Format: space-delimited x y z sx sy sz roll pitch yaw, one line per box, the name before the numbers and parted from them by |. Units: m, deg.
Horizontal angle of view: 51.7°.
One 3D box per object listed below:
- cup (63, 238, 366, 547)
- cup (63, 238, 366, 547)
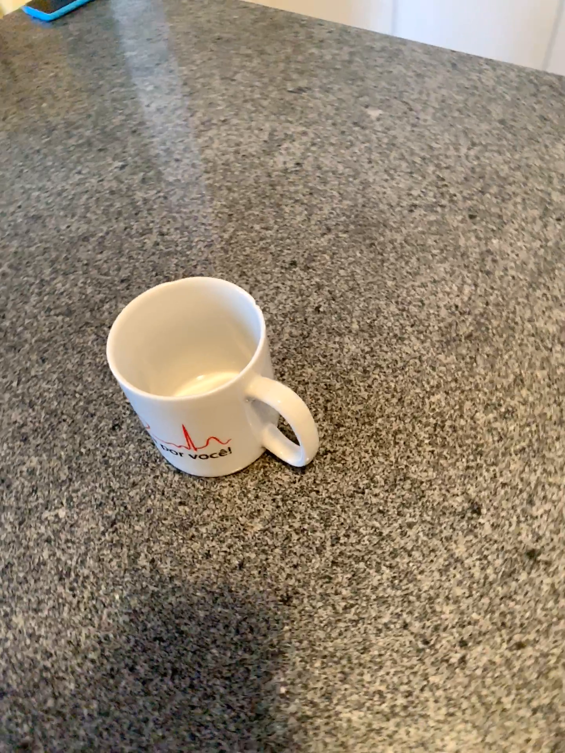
cup | -0.030 0.008 0.325 0.120 0.100 0.090 29 63 24
cup | -0.030 0.008 0.325 0.120 0.100 0.090 29 63 24
